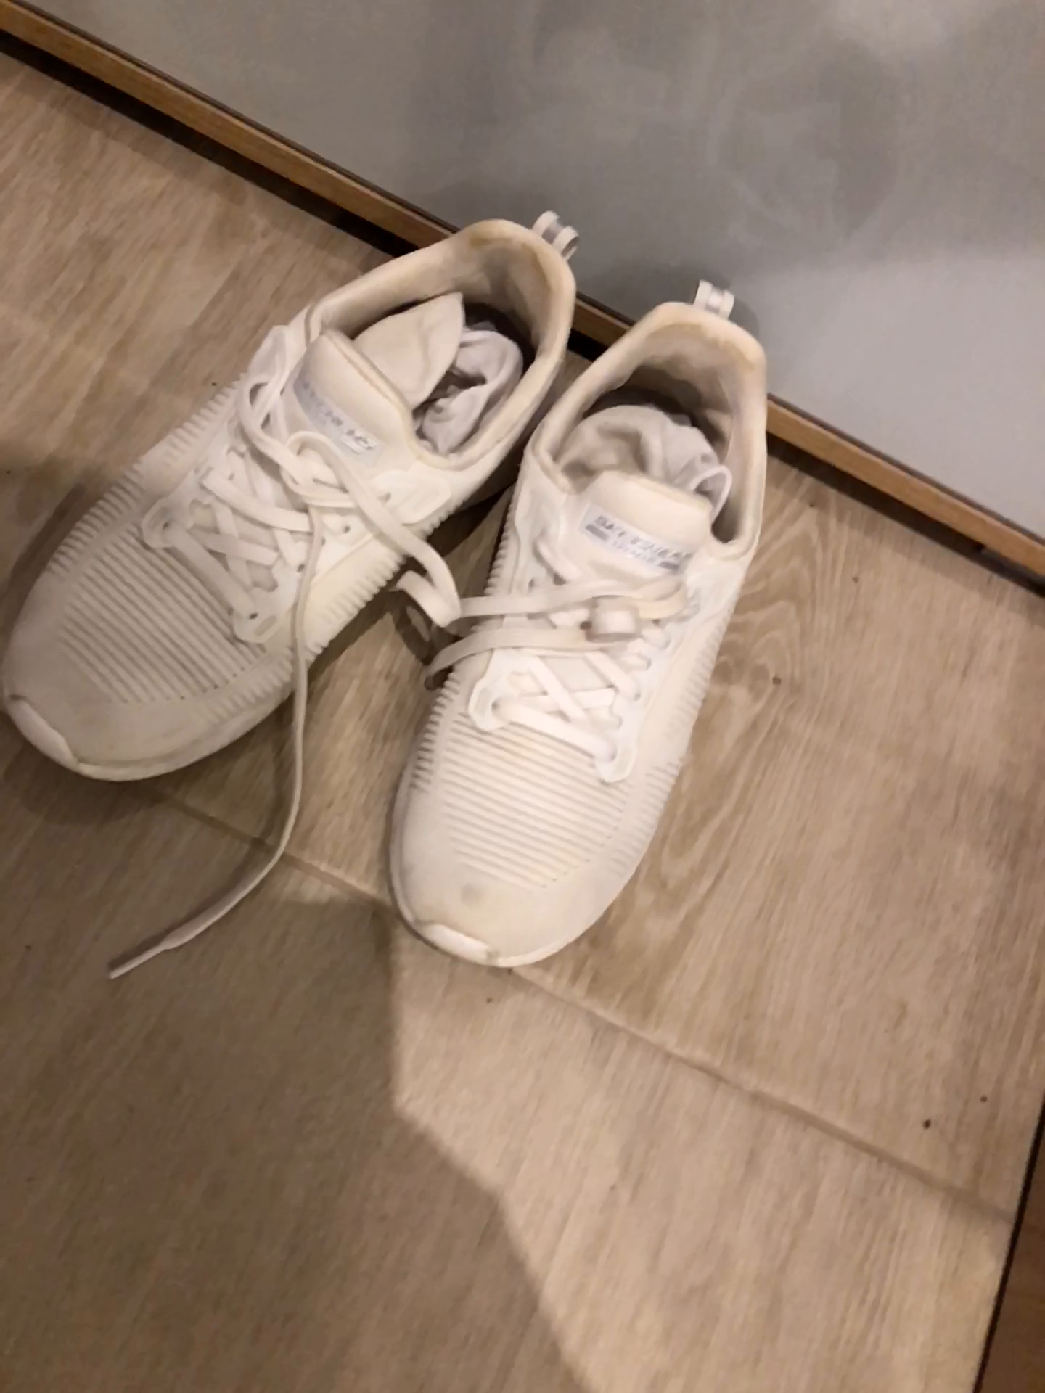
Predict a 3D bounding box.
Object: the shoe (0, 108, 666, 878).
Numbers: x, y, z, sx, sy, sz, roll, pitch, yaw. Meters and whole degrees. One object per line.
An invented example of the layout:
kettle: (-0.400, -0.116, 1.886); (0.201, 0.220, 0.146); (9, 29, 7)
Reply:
shoe: (-0.085, -0.078, 0.428); (0.110, 0.110, 0.271); (42, 67, 5)

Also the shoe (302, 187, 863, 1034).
shoe: (0.025, -0.033, 0.434); (0.110, 0.110, 0.281); (22, 67, -4)
